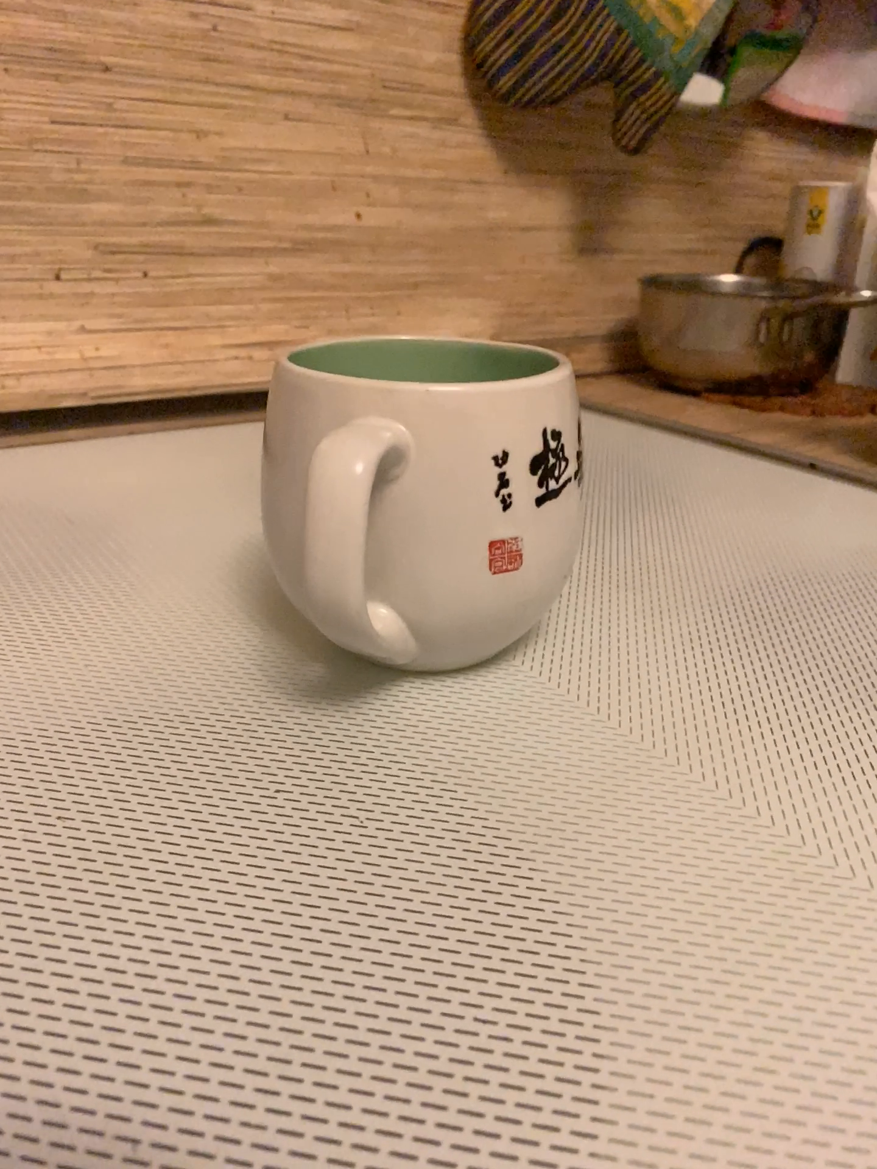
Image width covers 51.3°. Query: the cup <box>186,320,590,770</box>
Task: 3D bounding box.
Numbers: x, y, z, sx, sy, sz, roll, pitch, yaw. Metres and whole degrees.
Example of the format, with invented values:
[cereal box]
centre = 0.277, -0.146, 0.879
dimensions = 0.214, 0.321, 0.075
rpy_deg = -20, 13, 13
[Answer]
[cup]
centre = -0.004, -0.023, 0.269
dimensions = 0.088, 0.091, 0.124
rpy_deg = 5, 21, 7
